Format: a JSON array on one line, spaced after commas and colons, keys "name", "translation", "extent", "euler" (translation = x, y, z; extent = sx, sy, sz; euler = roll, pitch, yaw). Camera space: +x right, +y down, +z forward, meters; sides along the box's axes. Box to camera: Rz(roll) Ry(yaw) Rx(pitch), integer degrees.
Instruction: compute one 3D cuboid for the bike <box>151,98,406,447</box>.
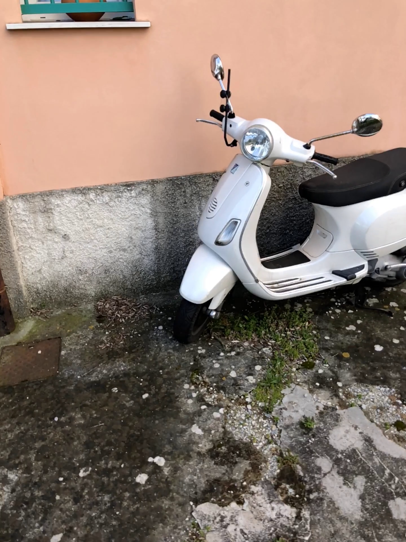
[{"name": "bike", "translation": [0.625, -0.116, 2.173], "extent": [1.658, 1.085, 0.647], "euler": [-15, 30, -20]}]
